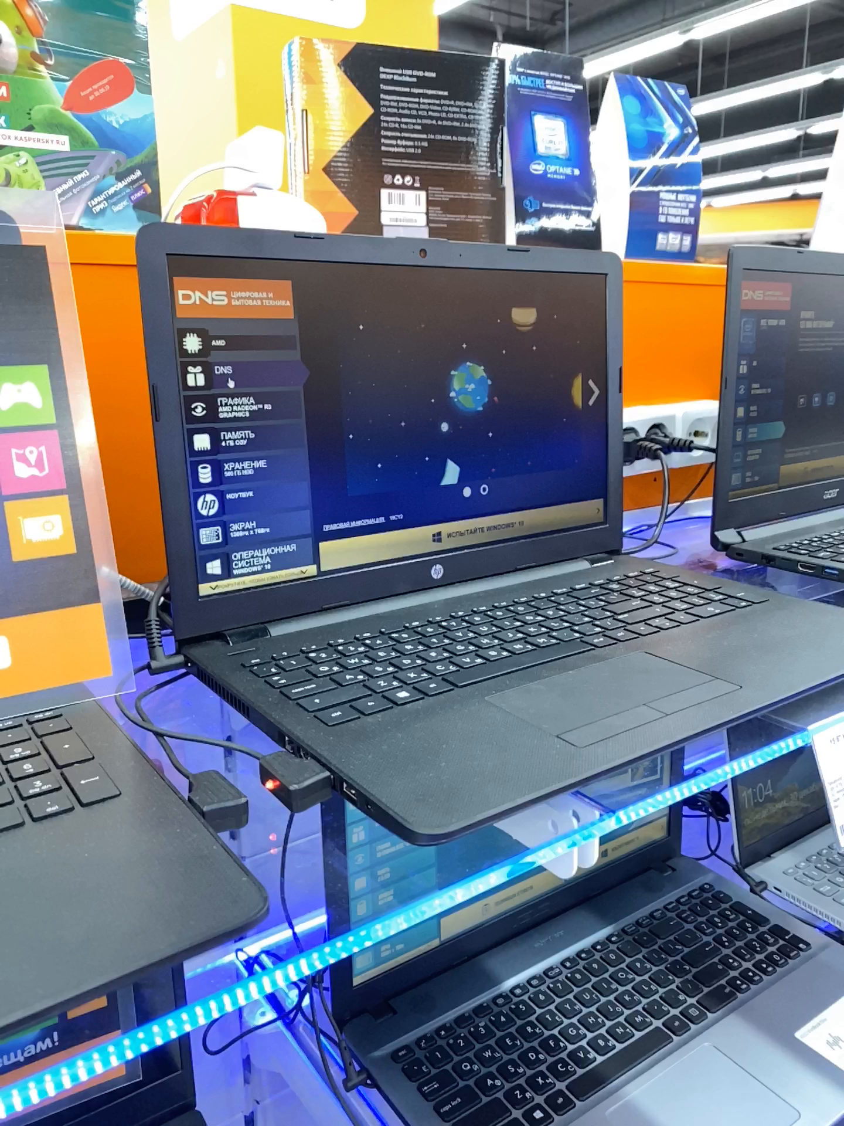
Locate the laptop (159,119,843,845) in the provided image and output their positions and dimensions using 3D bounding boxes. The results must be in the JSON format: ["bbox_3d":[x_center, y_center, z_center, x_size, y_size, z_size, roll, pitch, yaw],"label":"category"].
[{"bbox_3d":[0.085,-0.068,0.488,0.369,0.231,0.272,-9,17,-35],"label":"laptop"}]
